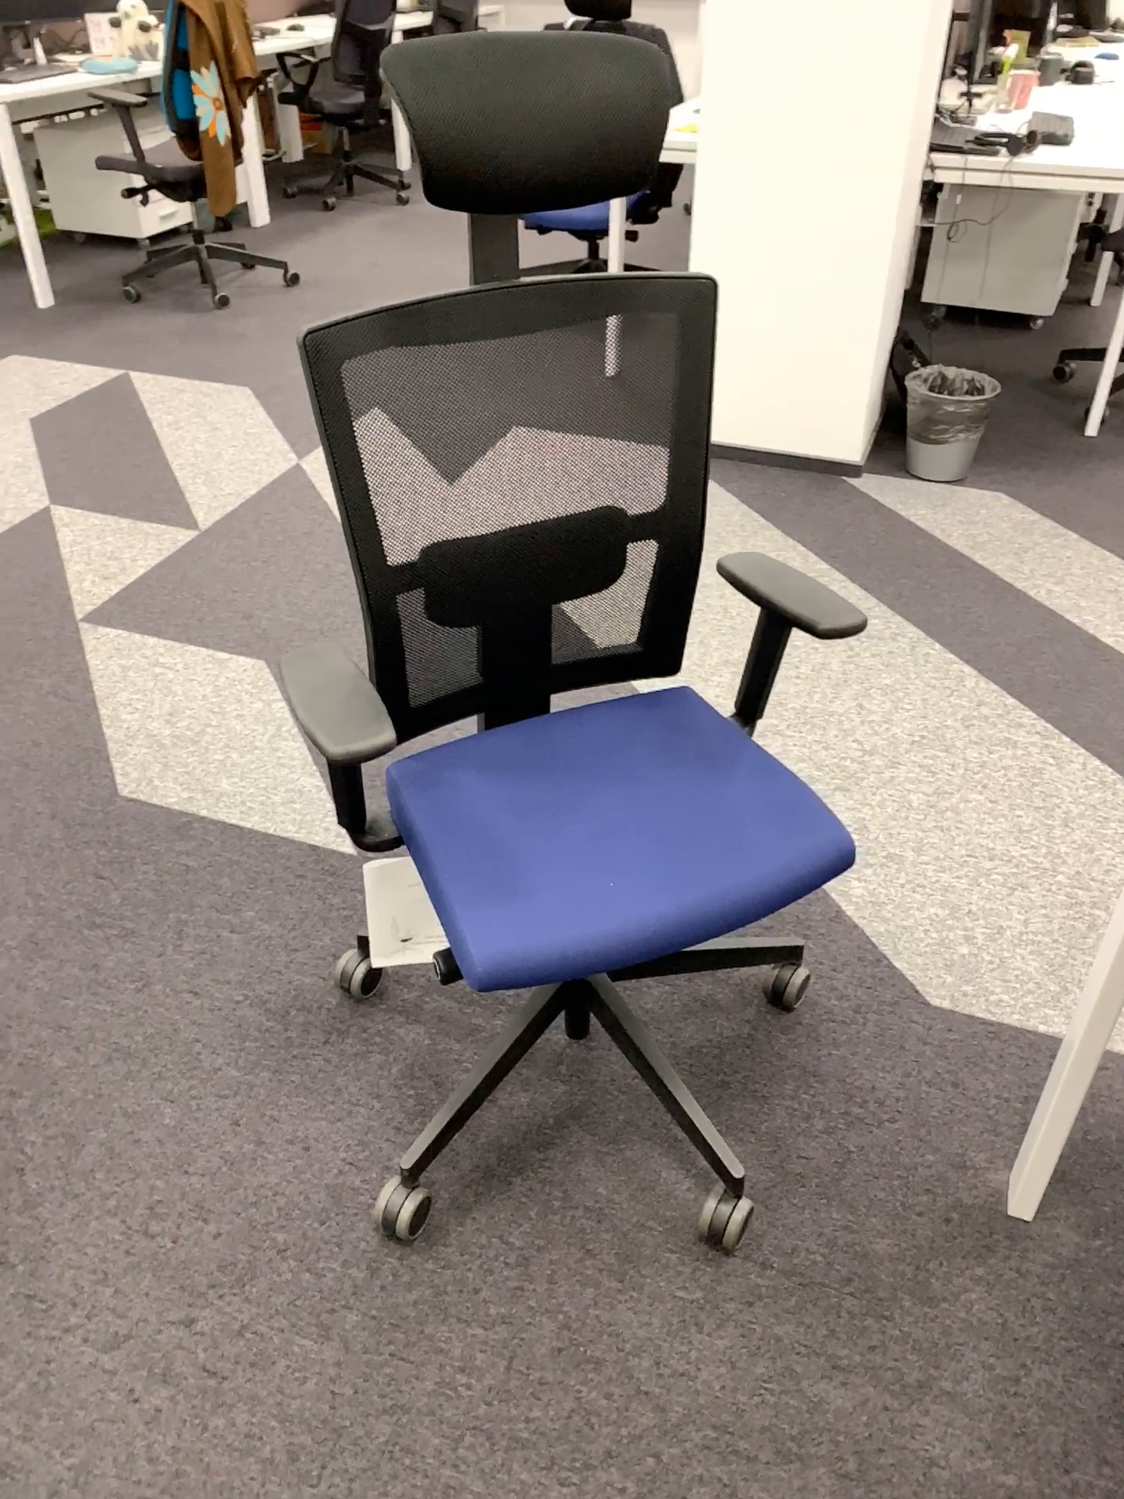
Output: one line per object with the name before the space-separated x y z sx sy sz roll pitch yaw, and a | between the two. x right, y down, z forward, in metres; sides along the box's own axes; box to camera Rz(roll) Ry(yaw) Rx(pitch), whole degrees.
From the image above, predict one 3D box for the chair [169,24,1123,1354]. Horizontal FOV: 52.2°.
chair | 0.066 -0.058 1.306 0.731 1.243 0.673 -10 38 -14
